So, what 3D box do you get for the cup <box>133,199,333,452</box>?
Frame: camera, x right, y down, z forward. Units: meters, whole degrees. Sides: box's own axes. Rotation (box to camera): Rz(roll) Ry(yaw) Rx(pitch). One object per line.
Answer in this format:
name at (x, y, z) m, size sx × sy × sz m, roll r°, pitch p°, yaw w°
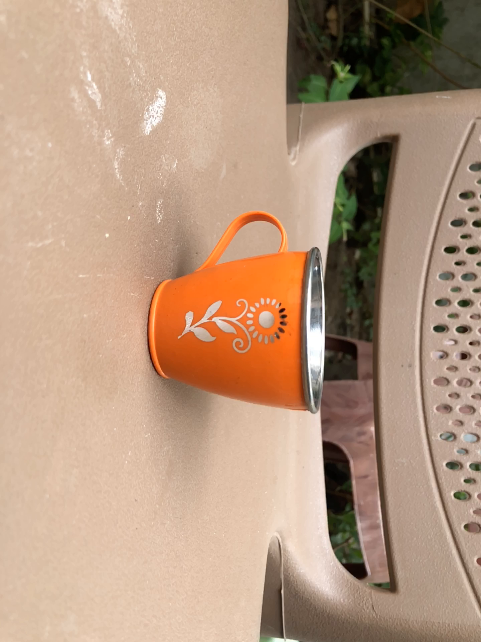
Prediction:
cup at (0.000, 0.001, 0.204) m, size 0.050 × 0.060 × 0.080 m, roll 4°, pitch 87°, yaw -70°
